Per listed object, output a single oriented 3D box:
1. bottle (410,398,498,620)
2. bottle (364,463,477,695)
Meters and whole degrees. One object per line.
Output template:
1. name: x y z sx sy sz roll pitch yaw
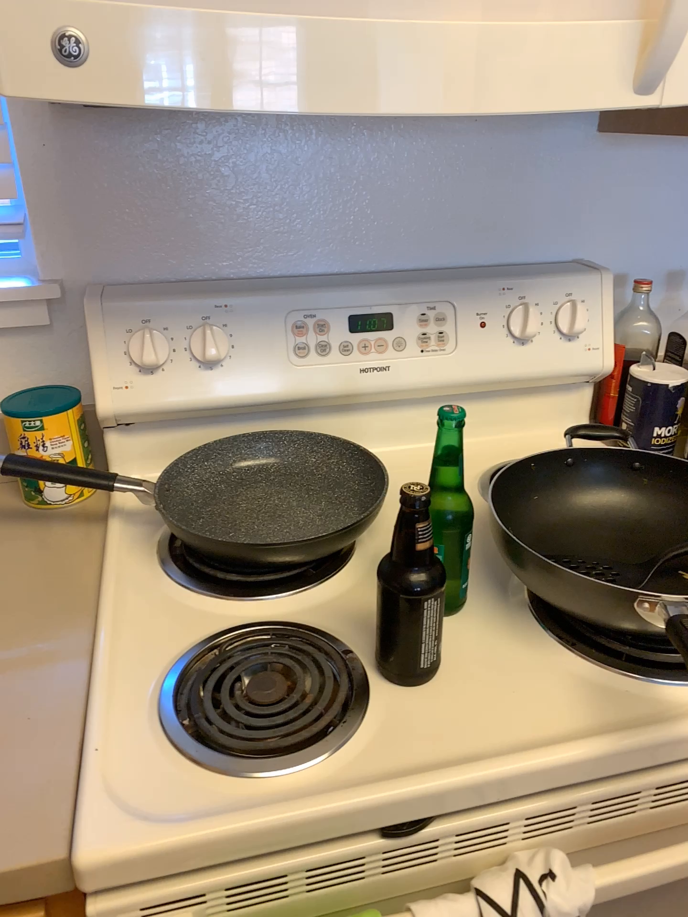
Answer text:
1. bottle: 0.108 0.052 0.706 0.060 0.209 0.060 0 26 0
2. bottle: 0.065 0.110 0.643 0.070 0.189 0.070 0 26 0
